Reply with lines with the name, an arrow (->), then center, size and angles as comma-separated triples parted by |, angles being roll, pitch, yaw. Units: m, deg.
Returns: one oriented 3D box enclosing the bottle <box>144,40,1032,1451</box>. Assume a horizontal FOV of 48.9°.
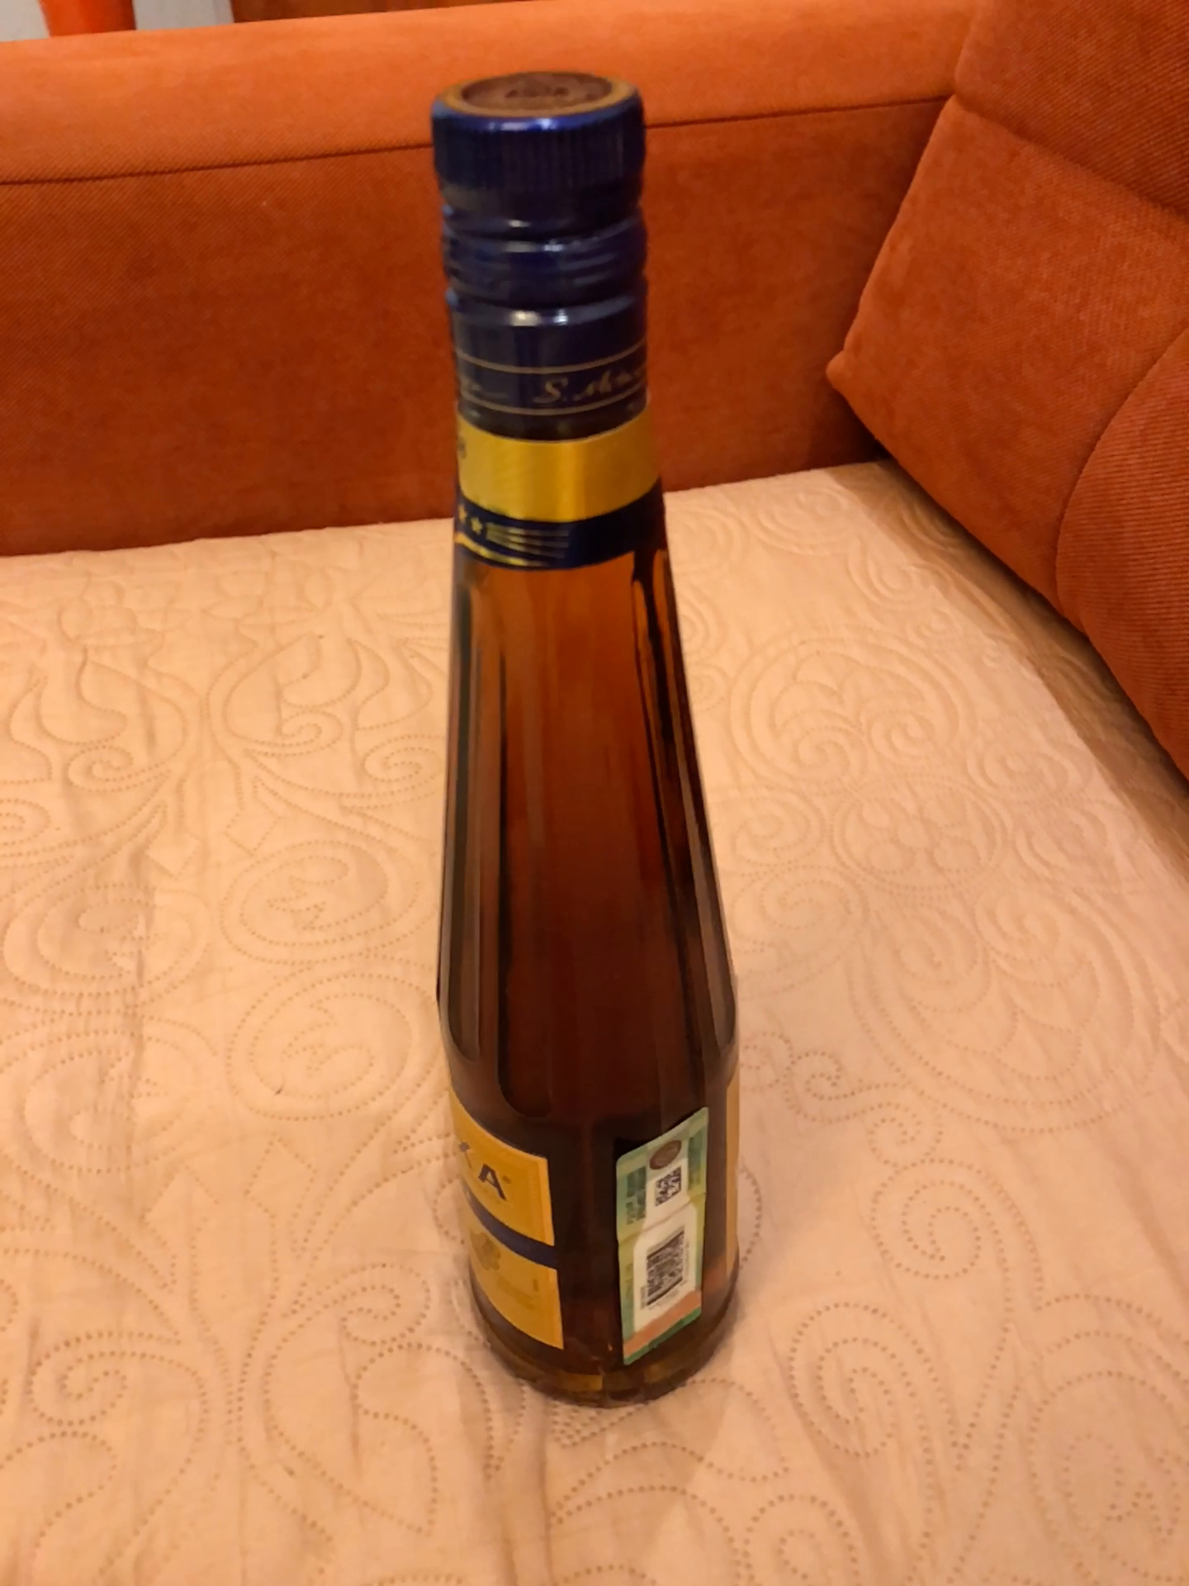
bottle -> 0.001, 0.028, 0.276 | 0.090, 0.308, 0.101 | 1, 44, 1
